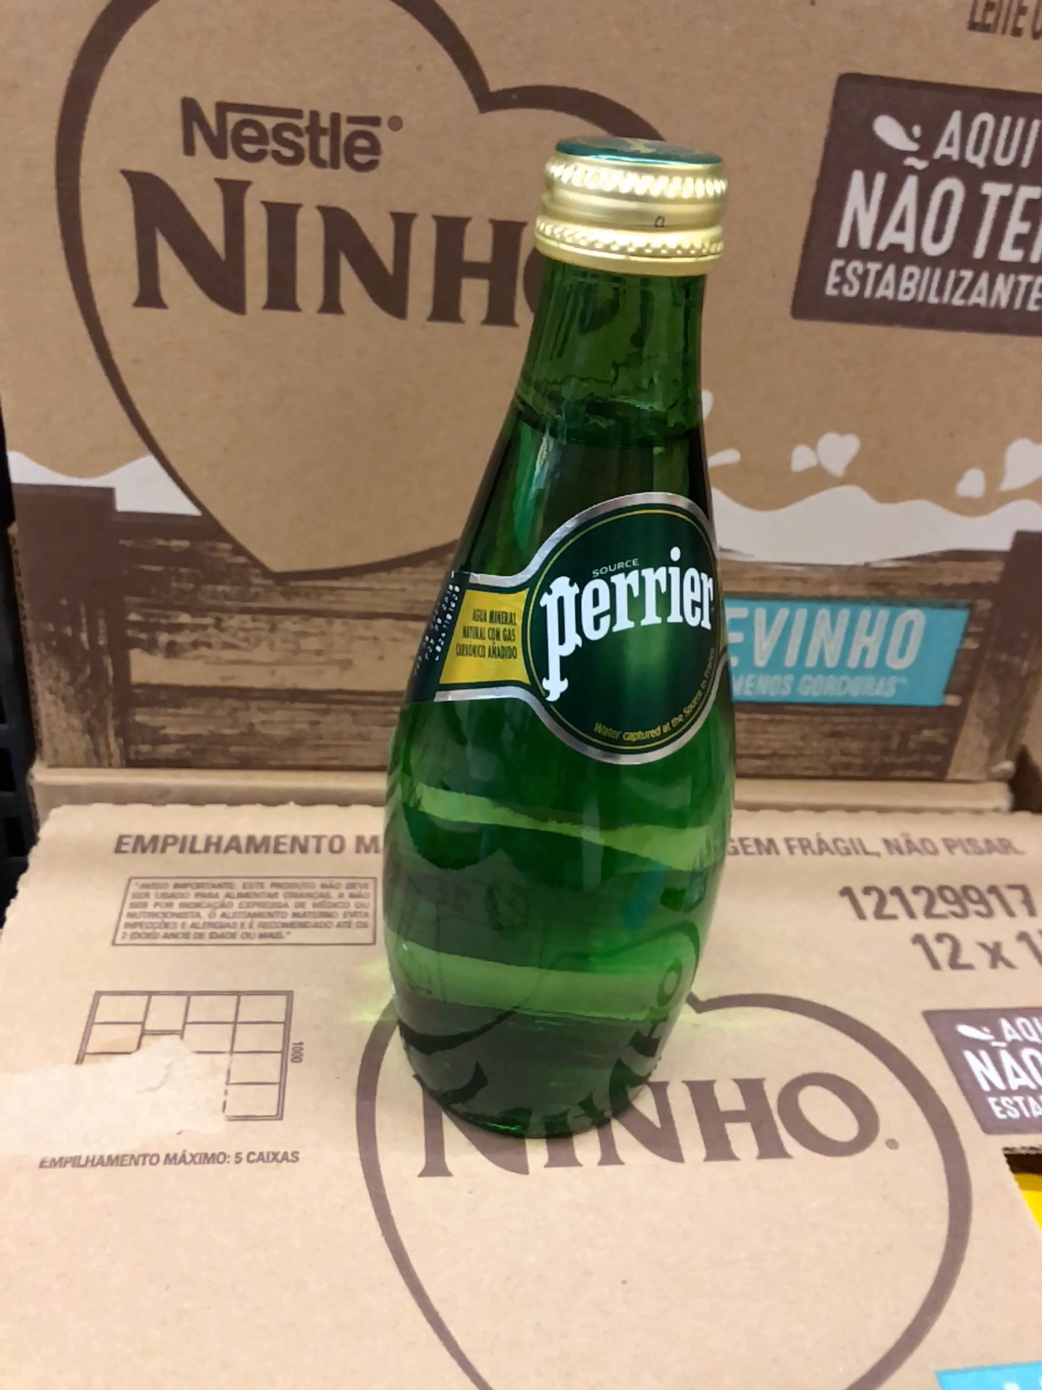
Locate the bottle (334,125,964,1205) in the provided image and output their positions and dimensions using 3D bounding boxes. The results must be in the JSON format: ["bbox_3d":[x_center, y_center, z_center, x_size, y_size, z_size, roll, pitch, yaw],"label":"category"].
[{"bbox_3d":[0.009,0.000,0.213,0.070,0.179,0.060,-10,34,-24],"label":"bottle"}]
